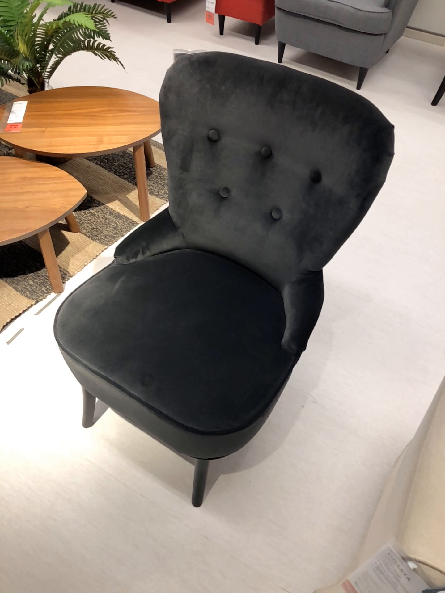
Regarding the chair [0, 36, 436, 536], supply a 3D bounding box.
[{"bbox_3d":[-0.012,-0.038,1.226,0.601,0.775,0.793,26,54,19],"label":"chair"}]
